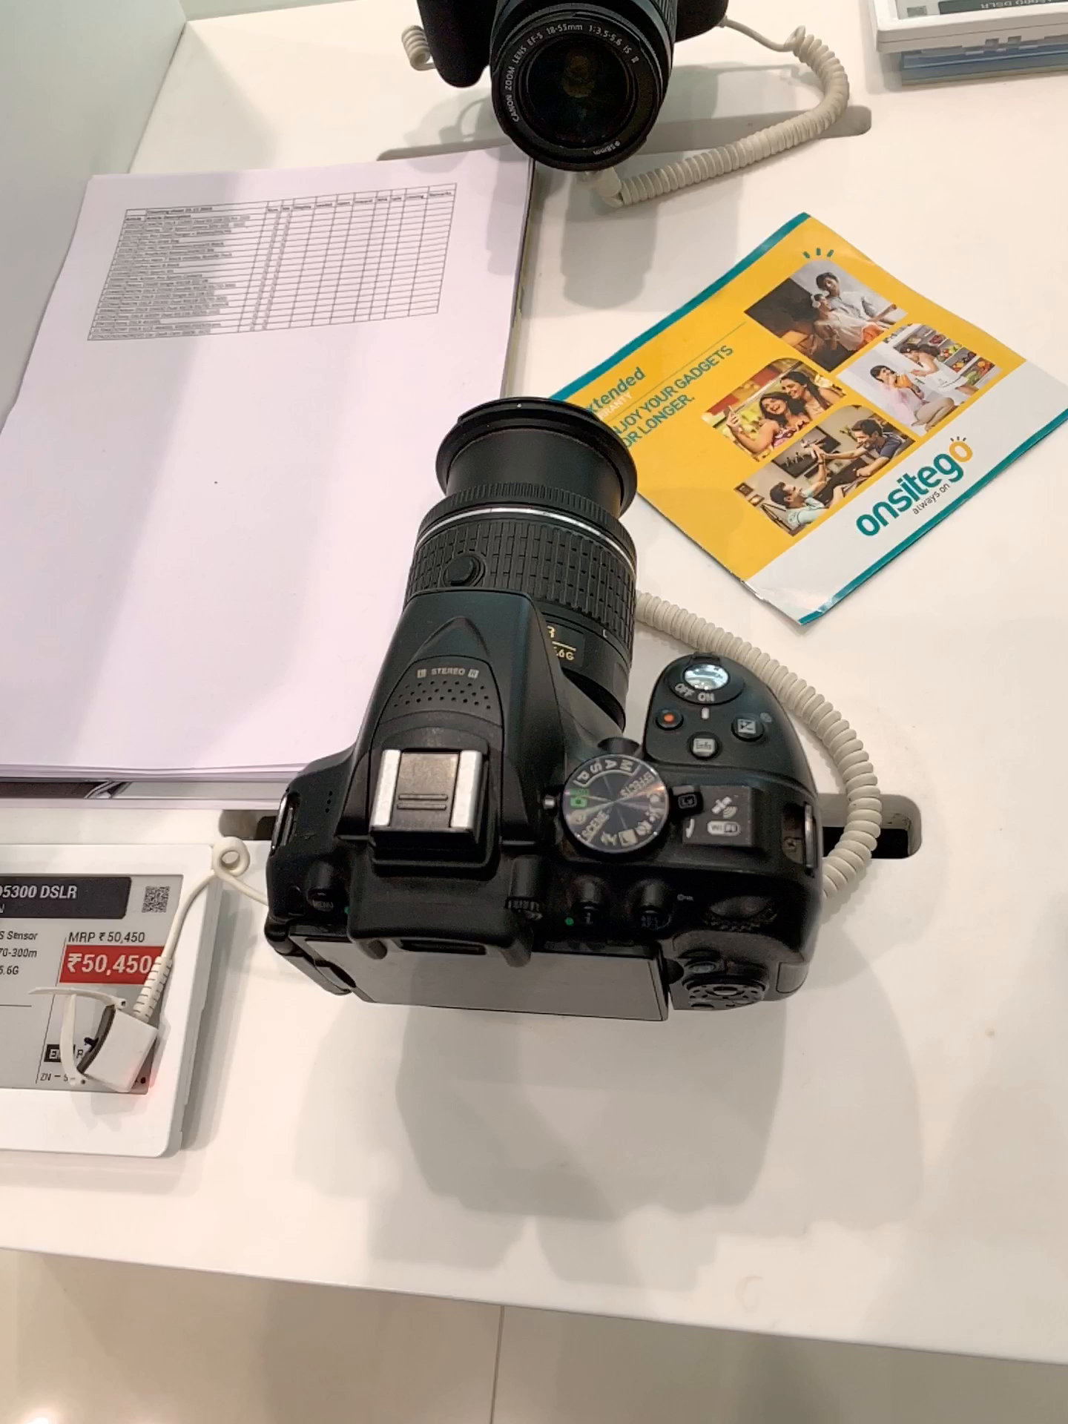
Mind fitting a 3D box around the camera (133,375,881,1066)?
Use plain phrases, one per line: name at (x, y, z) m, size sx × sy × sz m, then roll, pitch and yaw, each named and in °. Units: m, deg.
camera at (0.006, 0.007, 0.237) m, size 0.118 × 0.100 × 0.107 m, roll 1°, pitch 62°, yaw 11°
